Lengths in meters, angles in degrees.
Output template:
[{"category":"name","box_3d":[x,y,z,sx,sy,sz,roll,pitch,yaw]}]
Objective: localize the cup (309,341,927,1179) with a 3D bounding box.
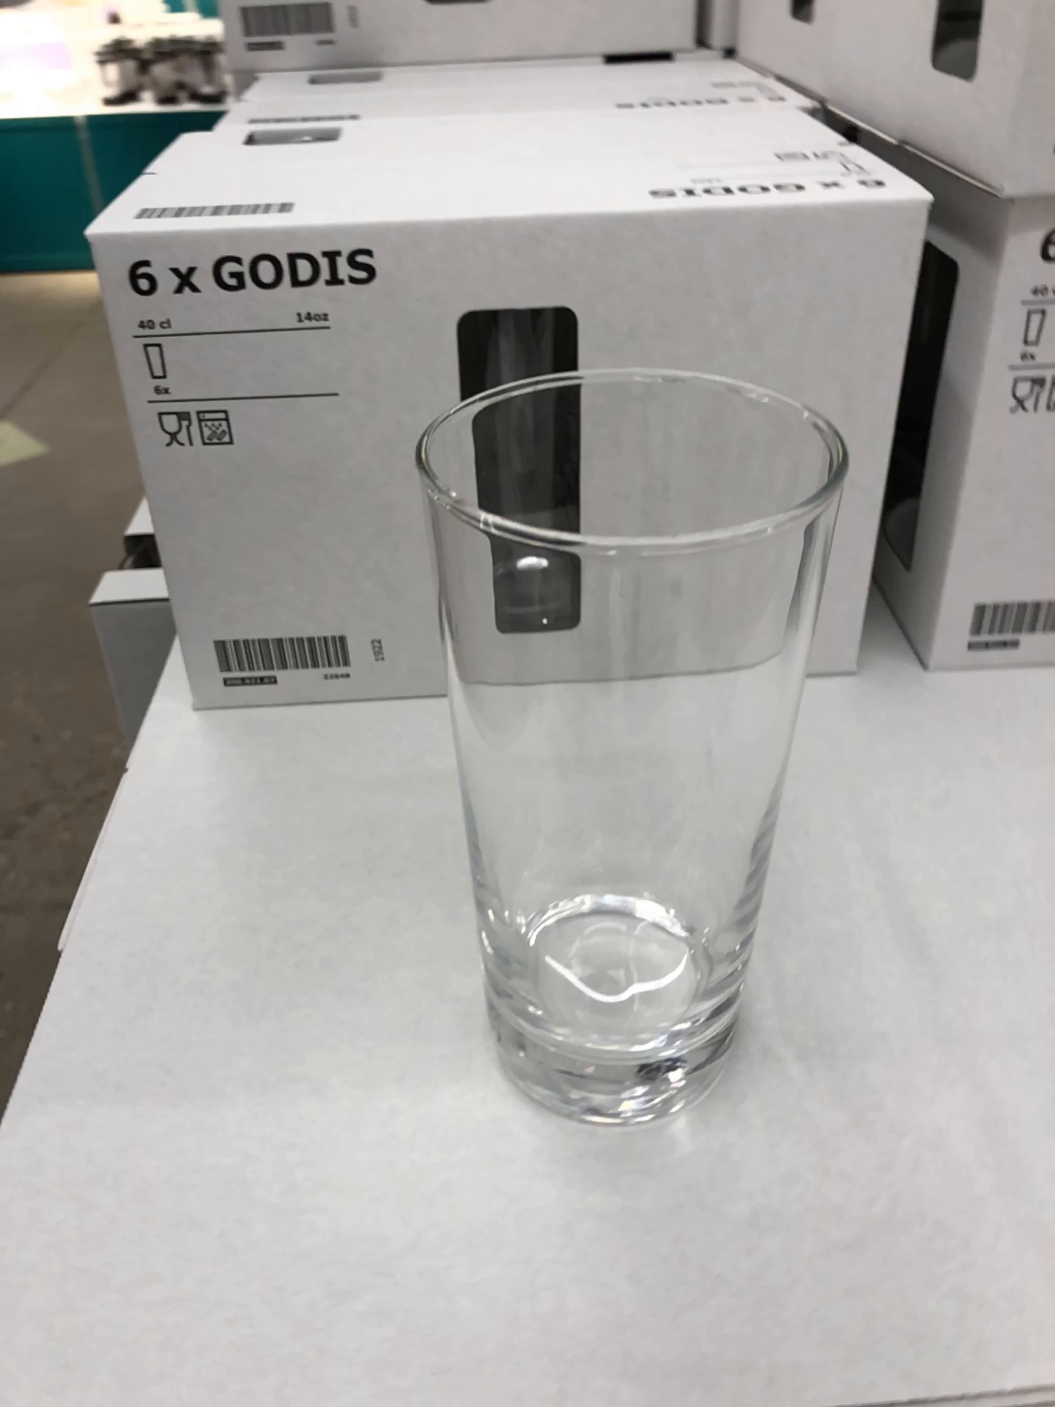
[{"category":"cup","box_3d":[0.014,0.010,0.250,0.080,0.139,0.080,-1,34,1]}]
